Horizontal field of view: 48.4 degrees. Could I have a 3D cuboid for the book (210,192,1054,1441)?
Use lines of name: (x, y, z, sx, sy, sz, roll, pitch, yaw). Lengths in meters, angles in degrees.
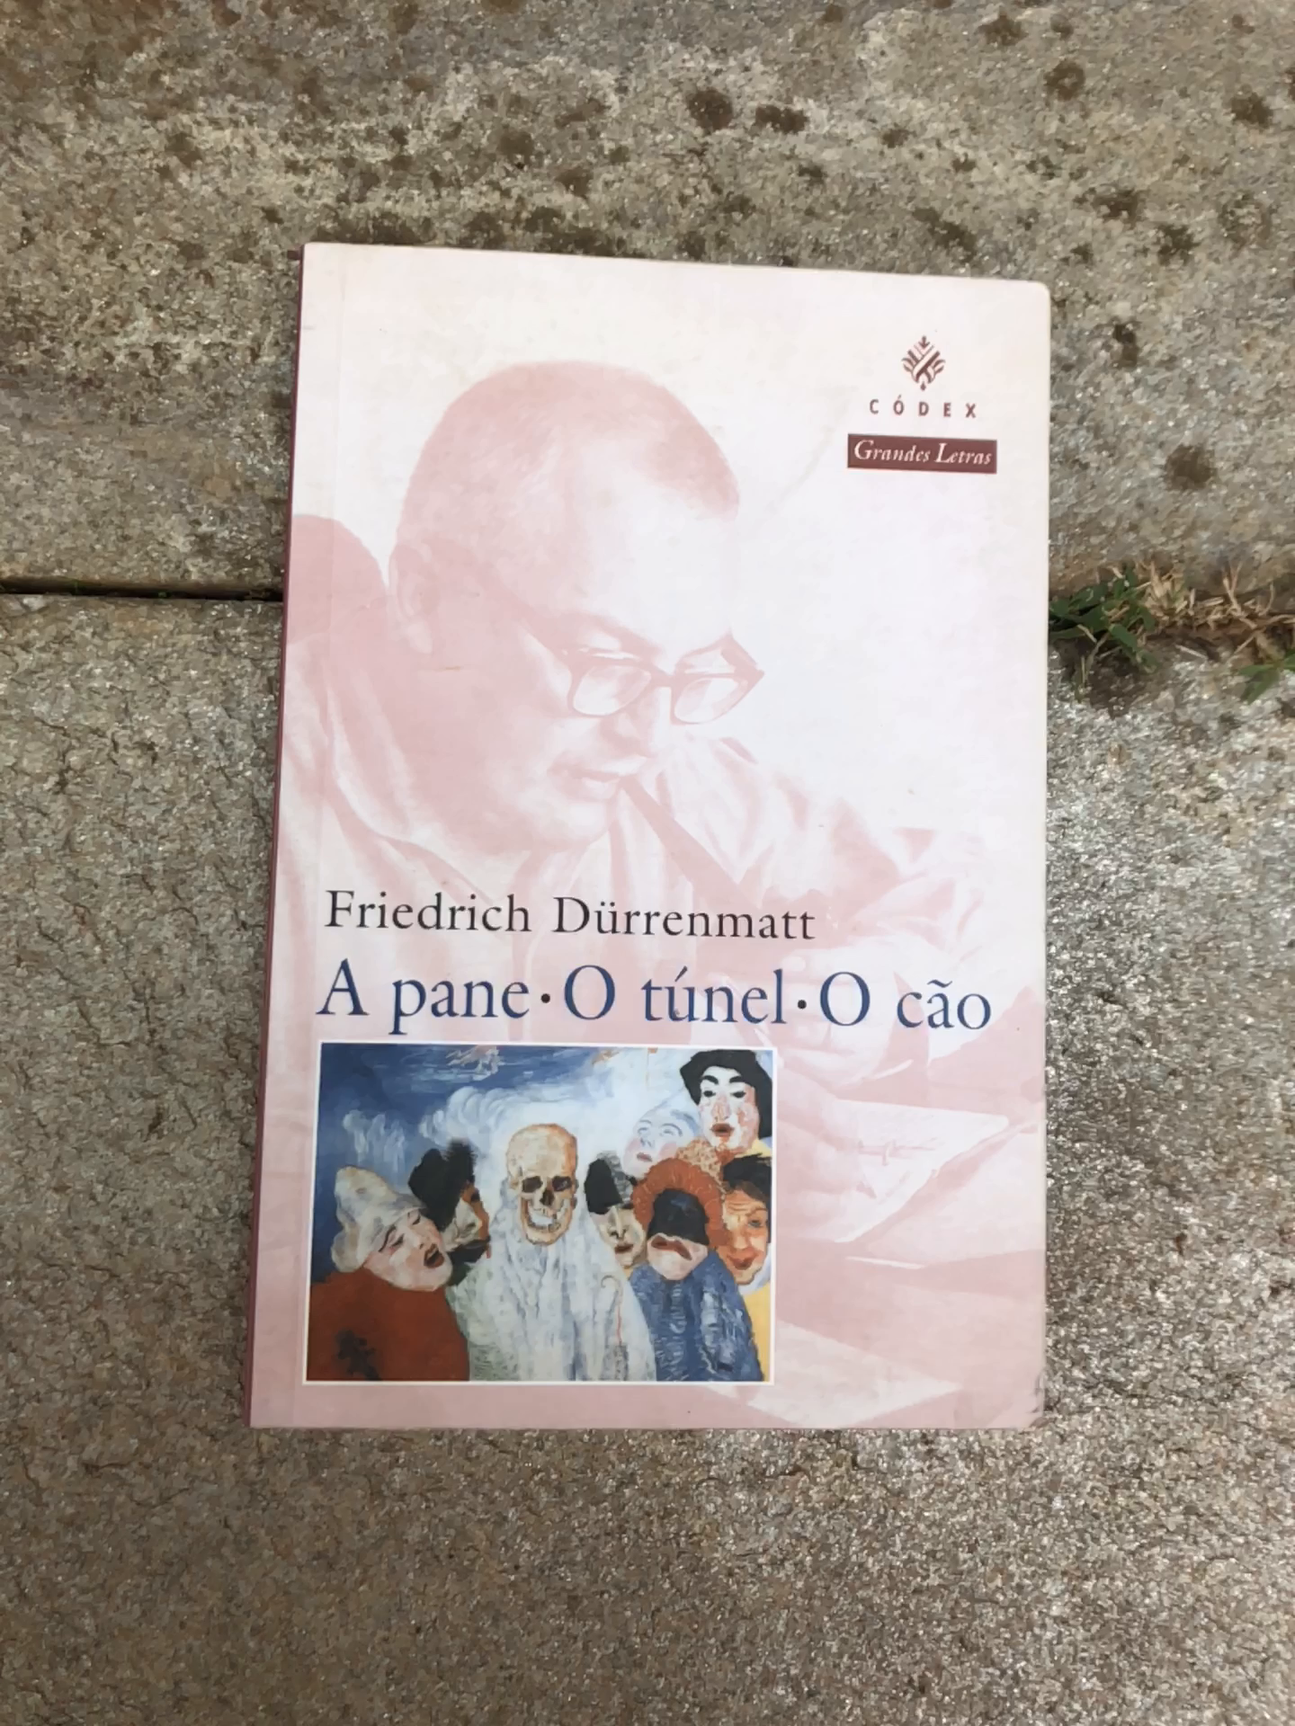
book: (0.000, -0.008, 0.258, 0.138, 0.020, 0.210, 2, 86, -4)
